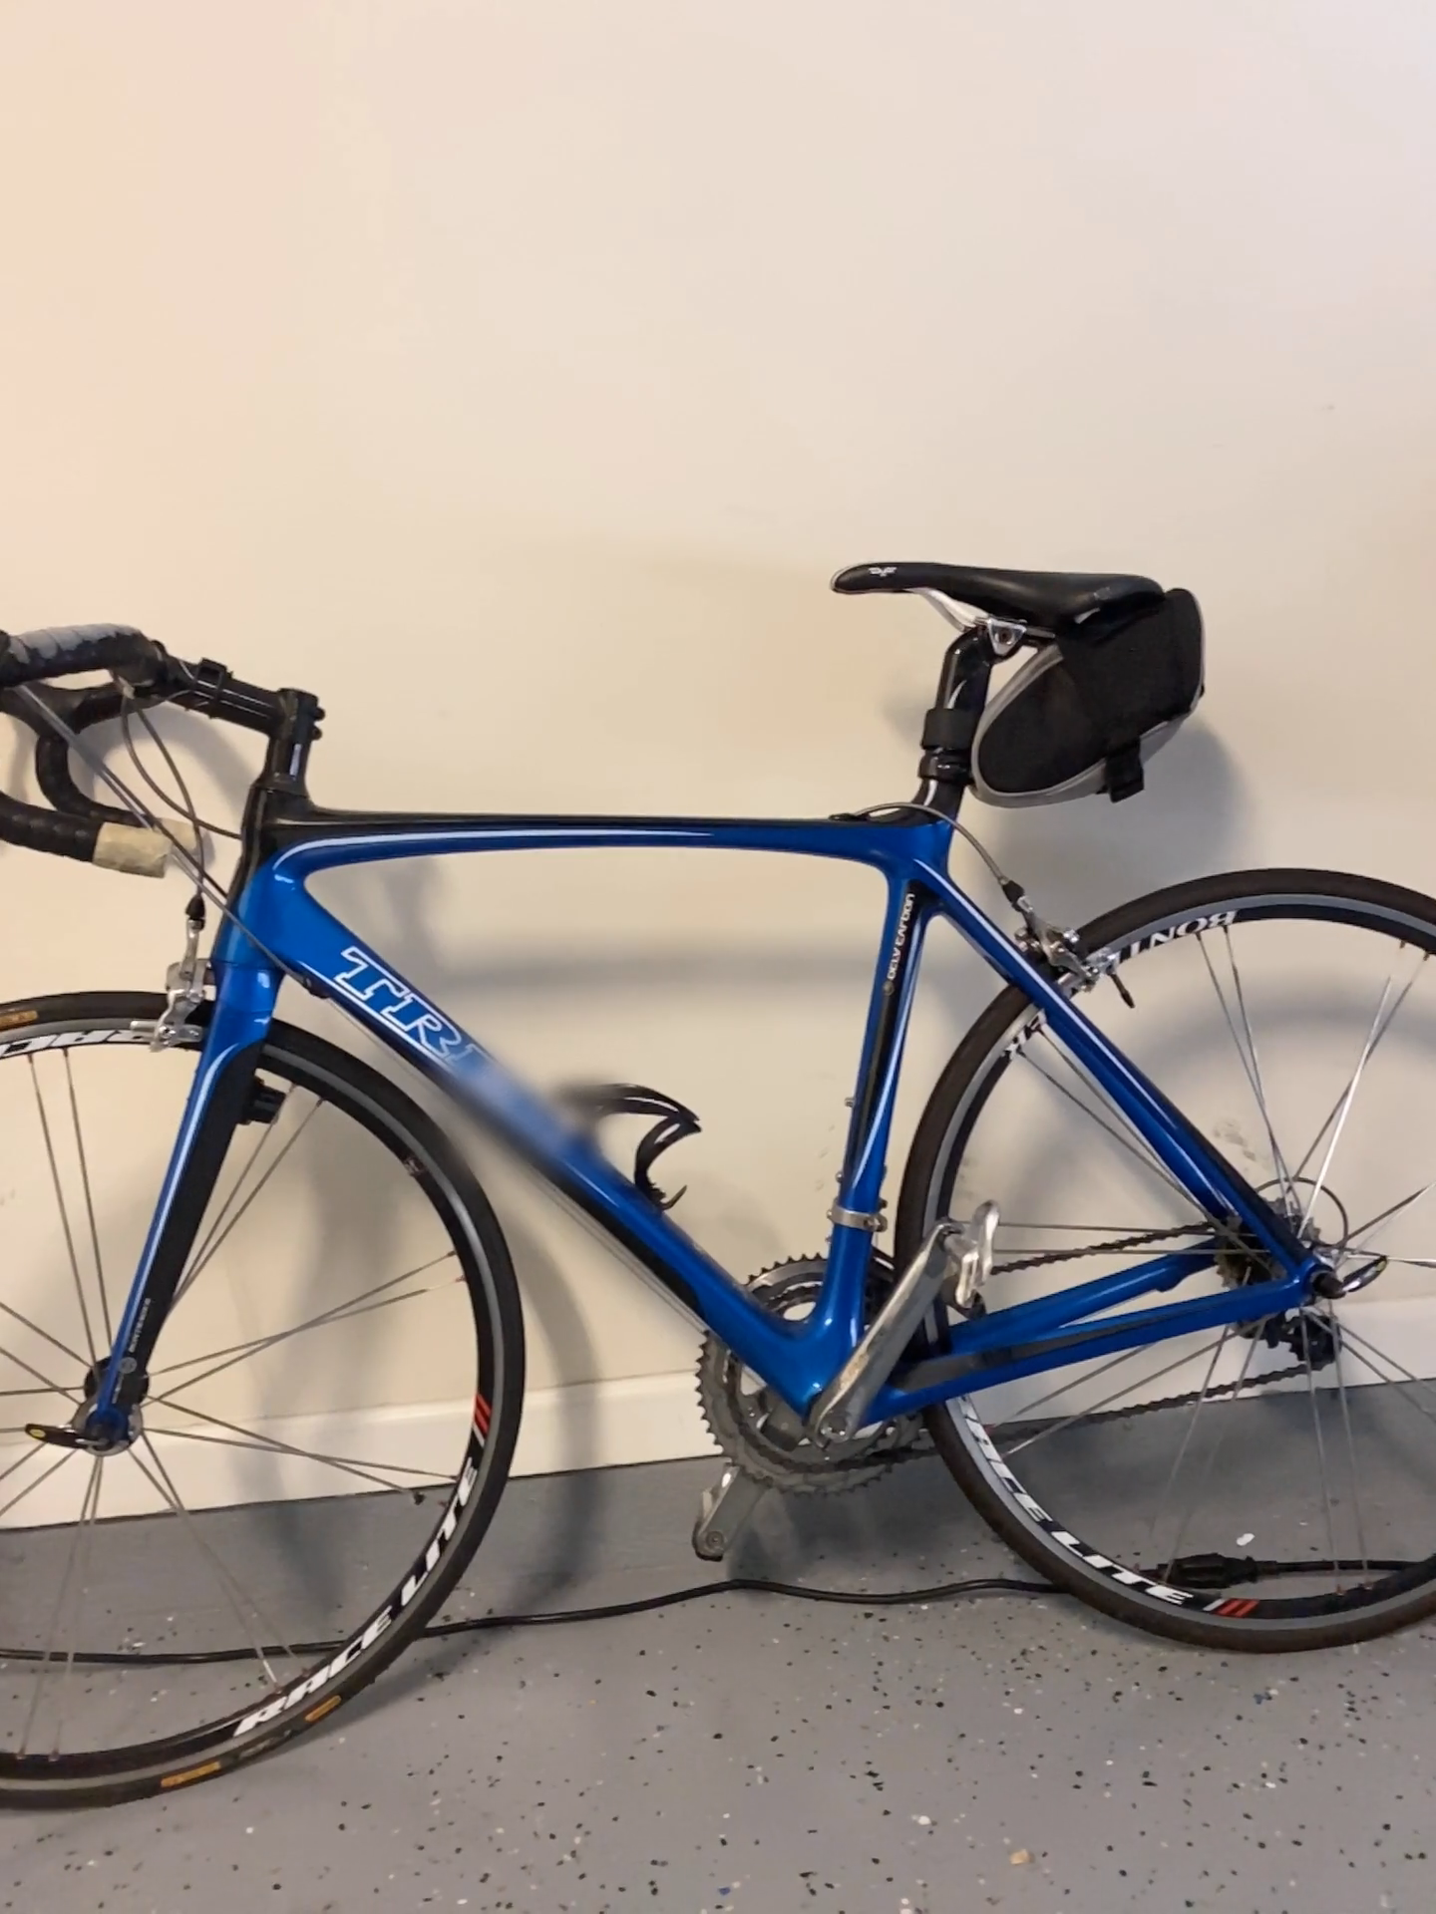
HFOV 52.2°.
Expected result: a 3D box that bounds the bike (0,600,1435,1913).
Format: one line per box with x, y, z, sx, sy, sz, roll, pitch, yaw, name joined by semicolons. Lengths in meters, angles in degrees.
0.076;0.228;1.134;1.638;0.884;0.401;-3;7;-14;bike
